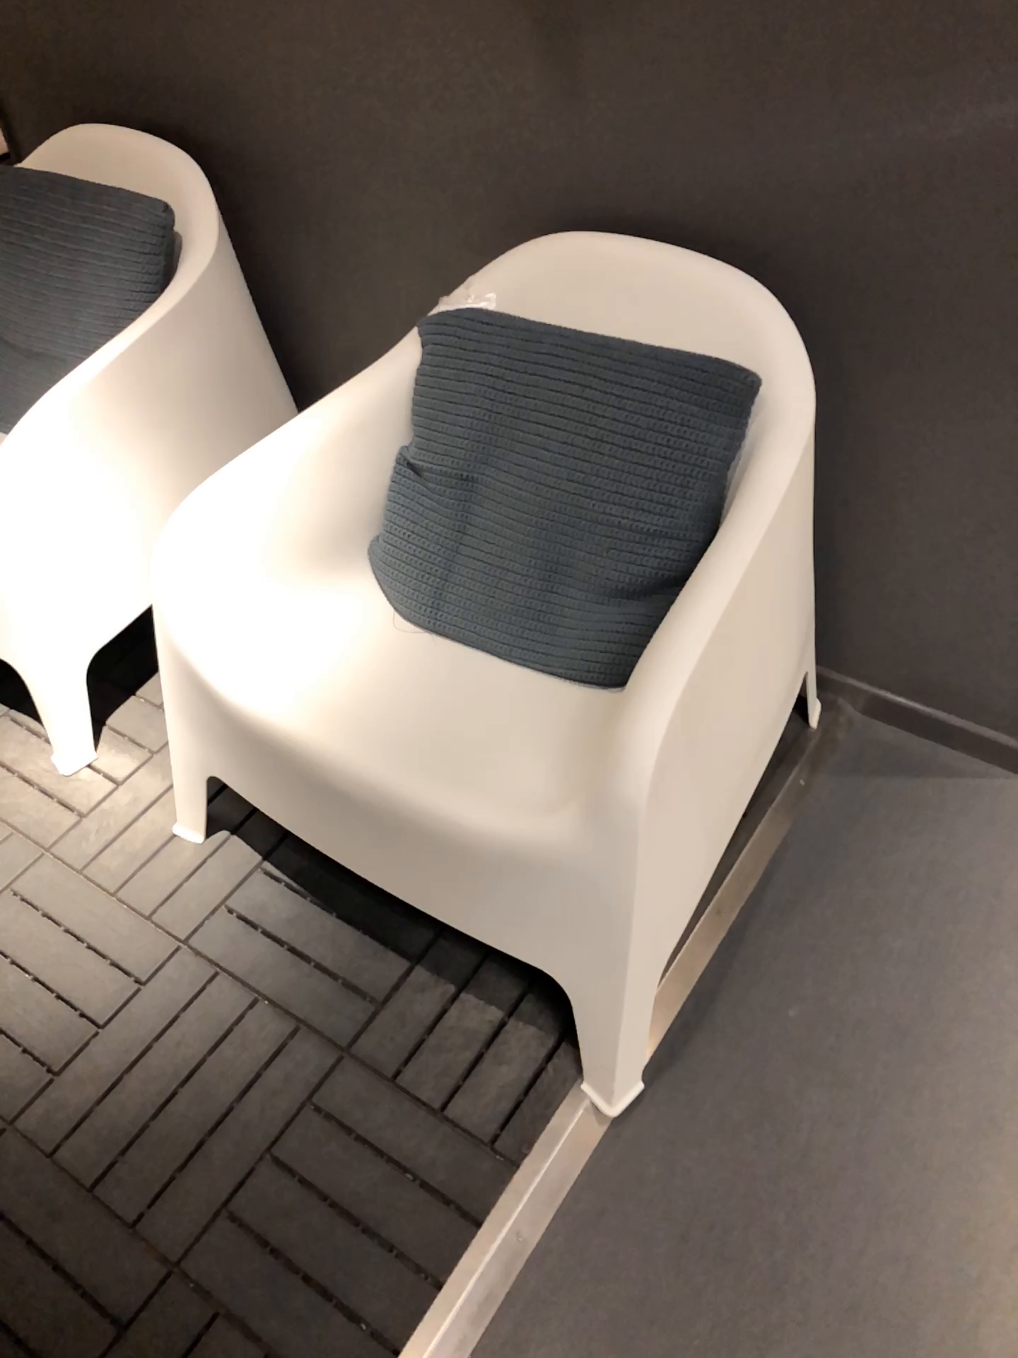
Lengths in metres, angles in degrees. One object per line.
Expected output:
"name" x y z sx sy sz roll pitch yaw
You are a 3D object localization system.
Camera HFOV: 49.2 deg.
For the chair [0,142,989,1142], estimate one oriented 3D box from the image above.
"chair" -0.005 -0.109 1.452 0.832 0.765 0.783 23 51 26
